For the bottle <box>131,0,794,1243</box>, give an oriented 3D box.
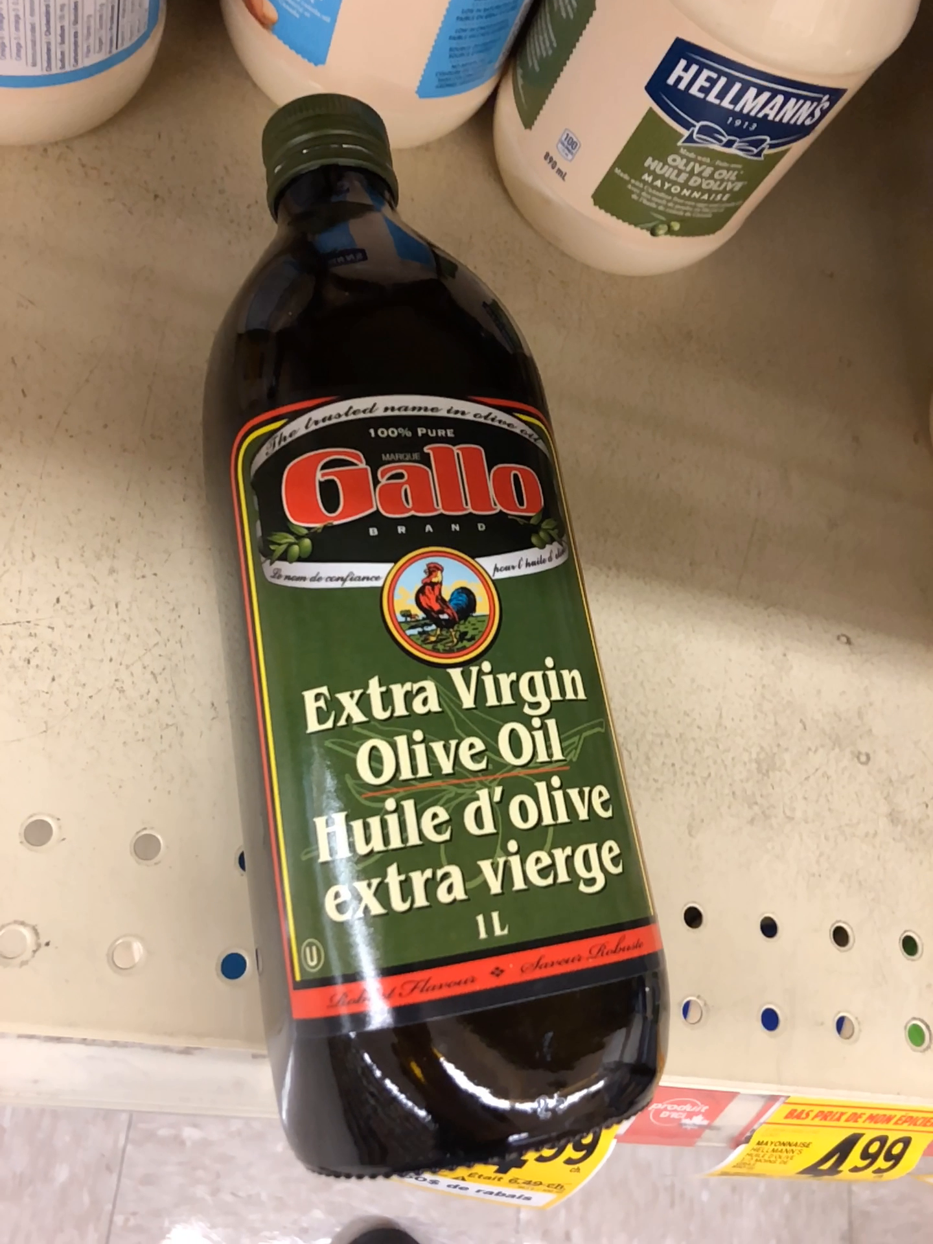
[{"bbox_3d":[-0.021,-0.022,0.249,0.090,0.090,0.271,-4,73,-21],"label":"bottle"}]
